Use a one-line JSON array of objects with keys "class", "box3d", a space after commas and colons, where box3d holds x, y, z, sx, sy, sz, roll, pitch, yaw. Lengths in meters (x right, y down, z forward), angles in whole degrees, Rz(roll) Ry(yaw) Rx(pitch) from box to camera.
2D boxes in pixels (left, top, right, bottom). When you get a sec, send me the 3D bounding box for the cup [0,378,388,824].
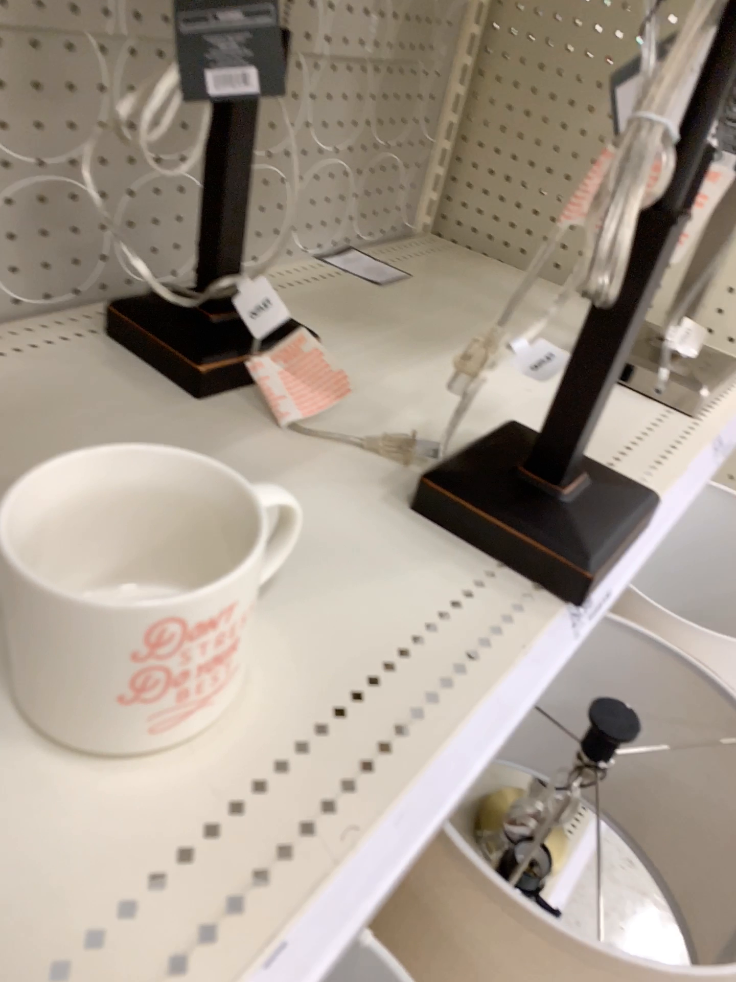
[{"class": "cup", "box3d": [-0.085, 0.032, 0.315, 0.100, 0.090, 0.151, 34, 39, 25]}]
